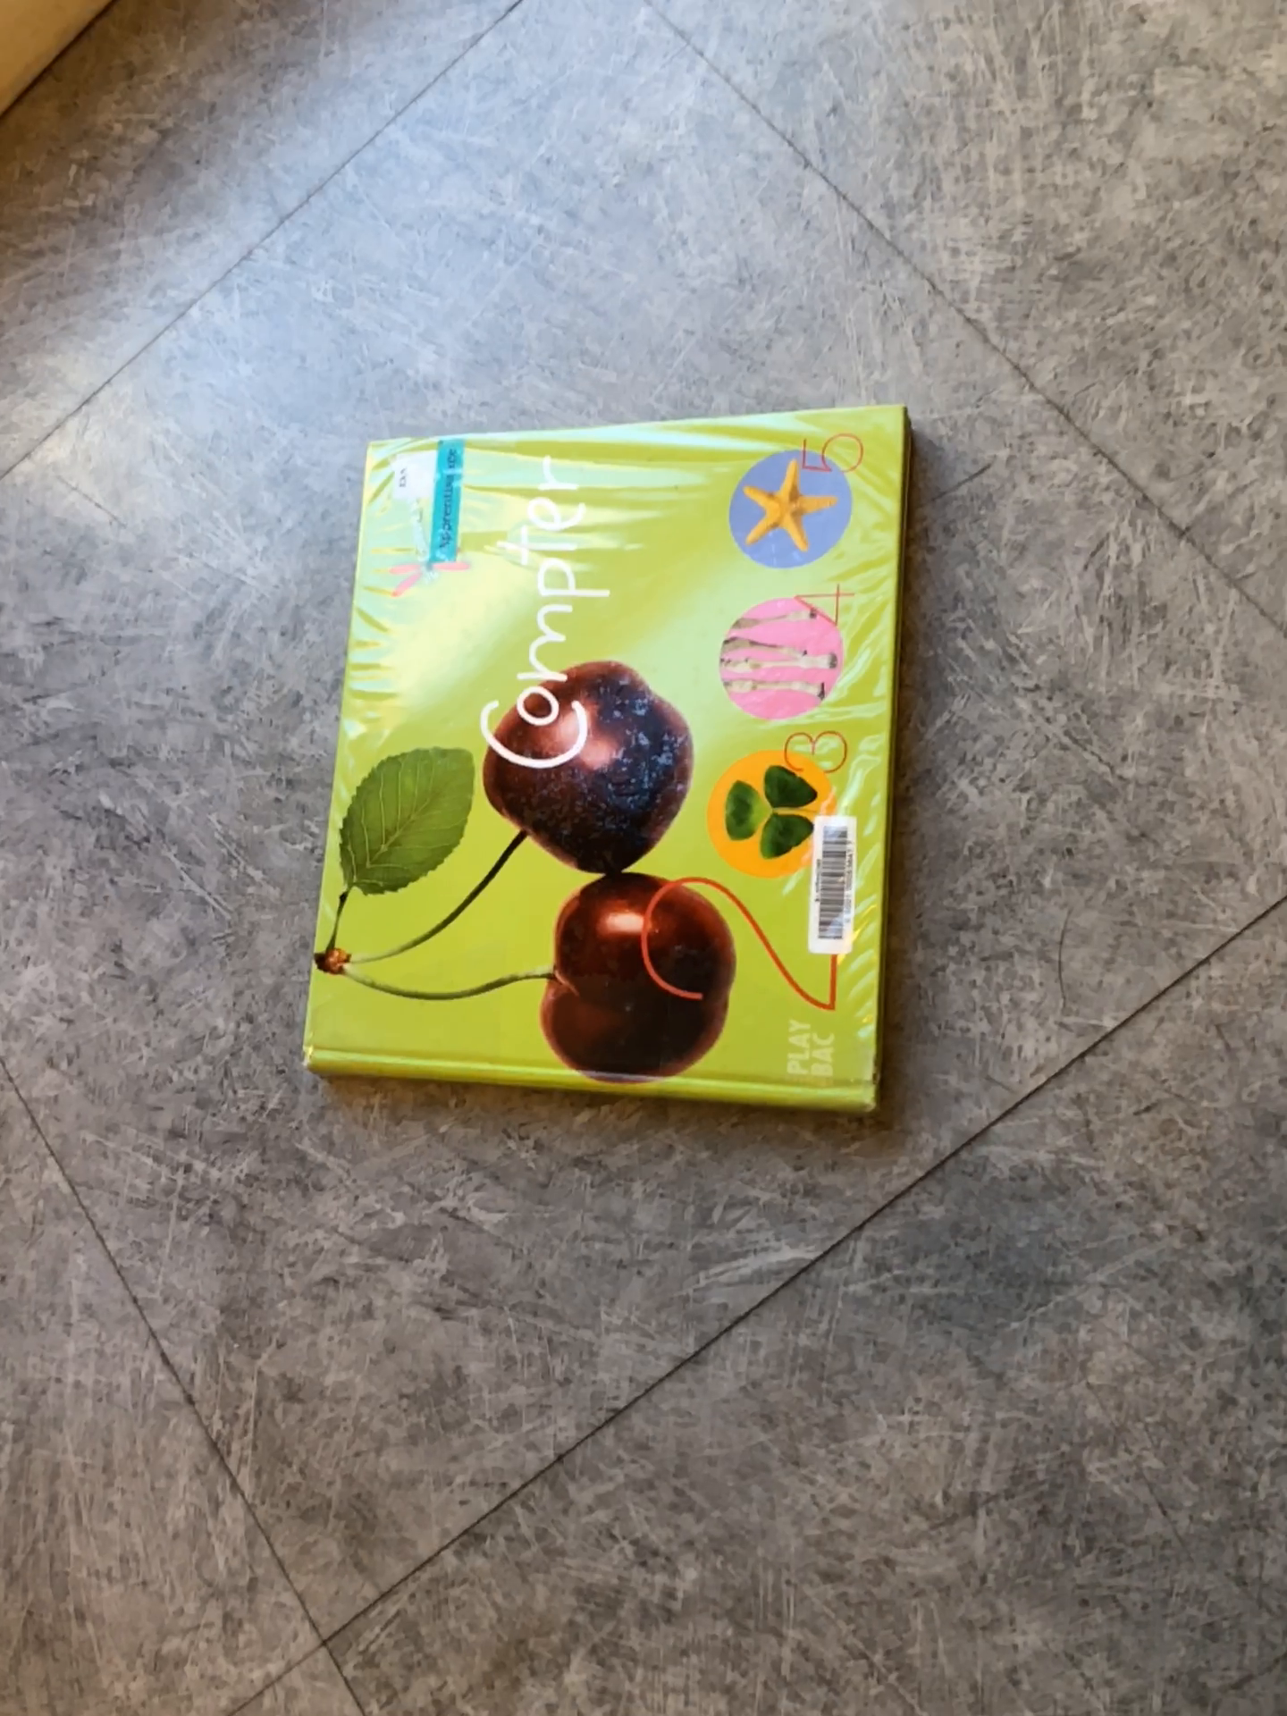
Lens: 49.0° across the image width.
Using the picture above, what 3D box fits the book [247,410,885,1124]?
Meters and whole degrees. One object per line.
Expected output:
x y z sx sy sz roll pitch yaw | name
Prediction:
-0.028 -0.039 0.530 0.222 0.021 0.255 2 81 14 | book
